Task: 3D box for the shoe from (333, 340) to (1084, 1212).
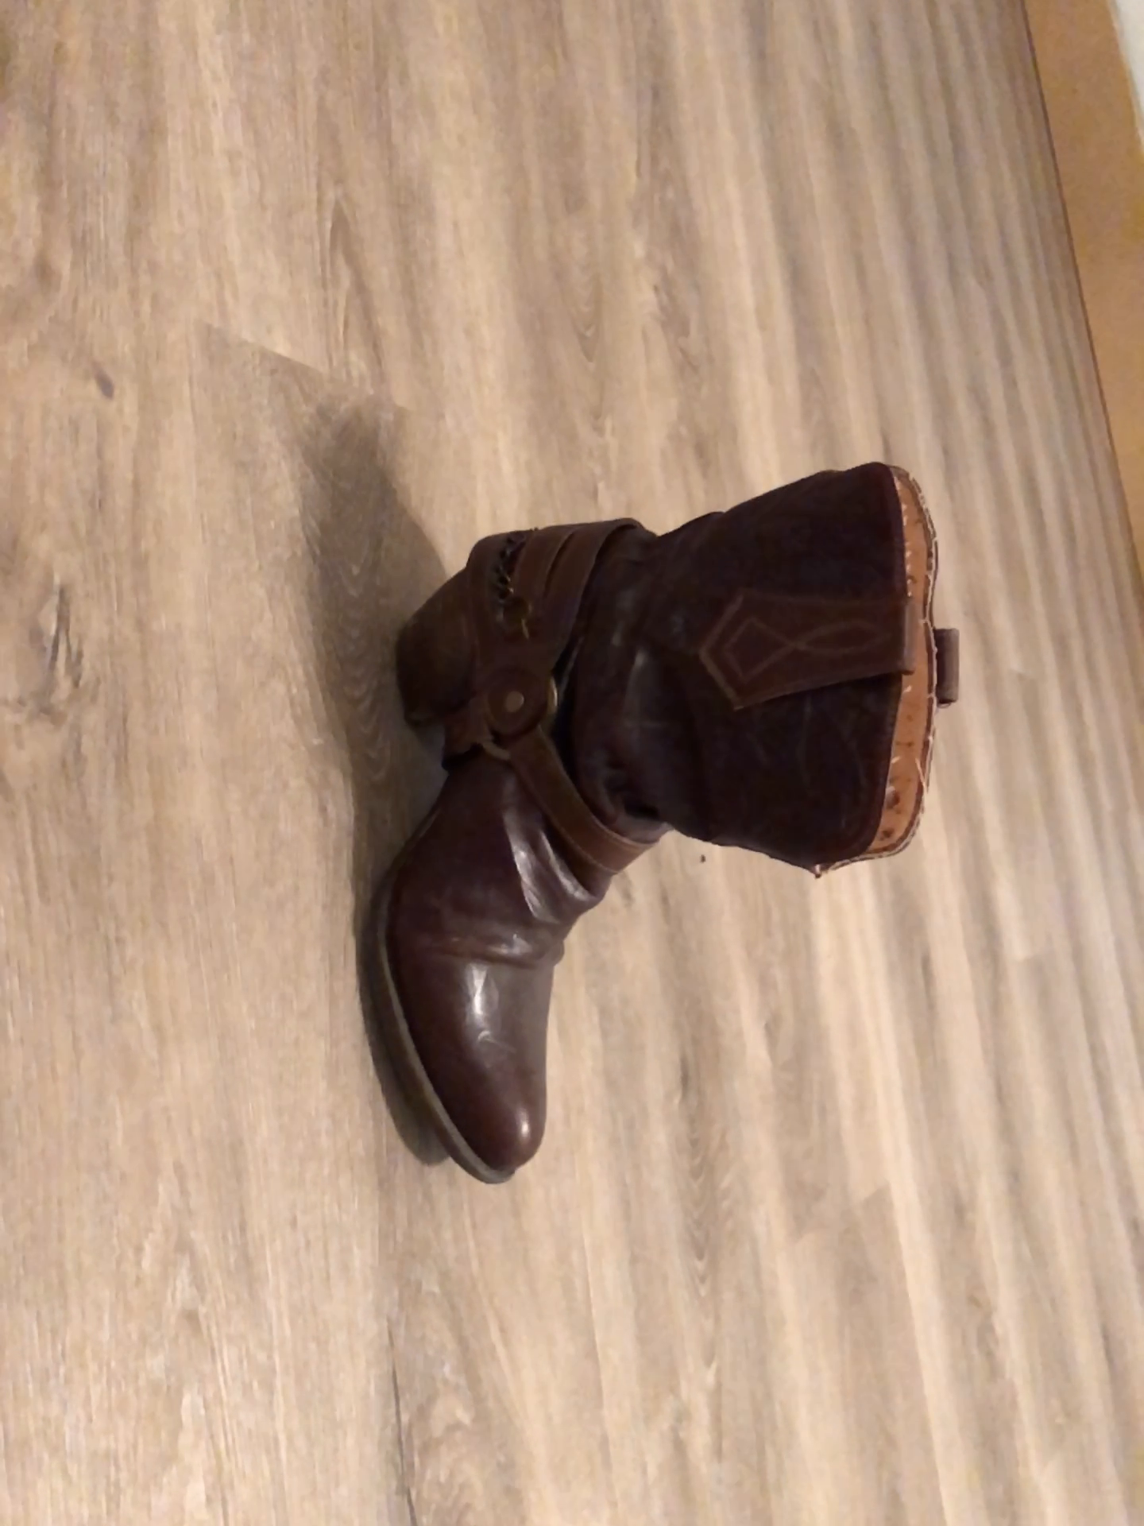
[{"bbox_3d":[0.036,0.020,0.441,0.101,0.209,0.240,11,69,-55],"label":"shoe"}]
